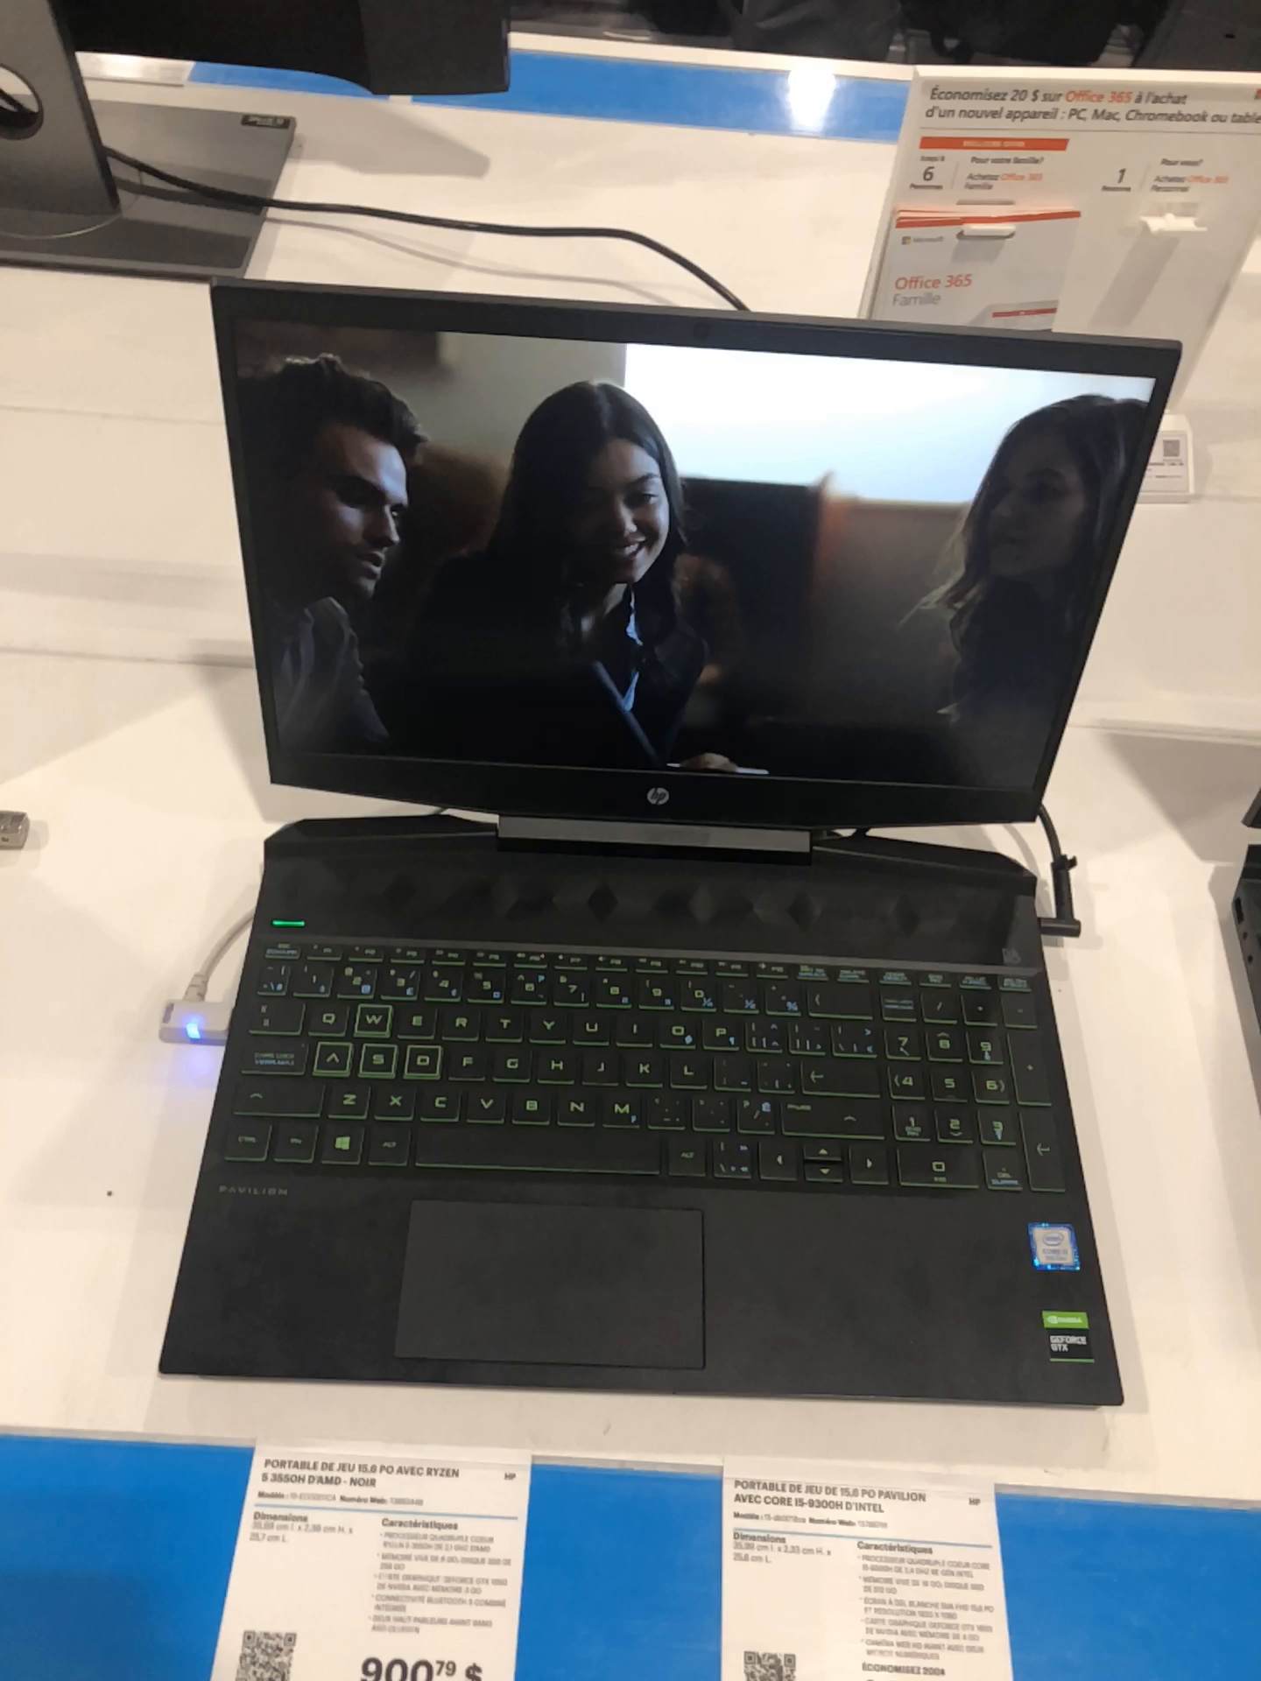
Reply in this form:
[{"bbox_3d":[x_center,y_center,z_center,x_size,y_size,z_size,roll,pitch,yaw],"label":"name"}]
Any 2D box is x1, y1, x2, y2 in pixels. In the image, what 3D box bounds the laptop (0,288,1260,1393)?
[{"bbox_3d":[0.014,0.004,0.515,0.355,0.232,0.317,3,53,-4],"label":"laptop"}]
